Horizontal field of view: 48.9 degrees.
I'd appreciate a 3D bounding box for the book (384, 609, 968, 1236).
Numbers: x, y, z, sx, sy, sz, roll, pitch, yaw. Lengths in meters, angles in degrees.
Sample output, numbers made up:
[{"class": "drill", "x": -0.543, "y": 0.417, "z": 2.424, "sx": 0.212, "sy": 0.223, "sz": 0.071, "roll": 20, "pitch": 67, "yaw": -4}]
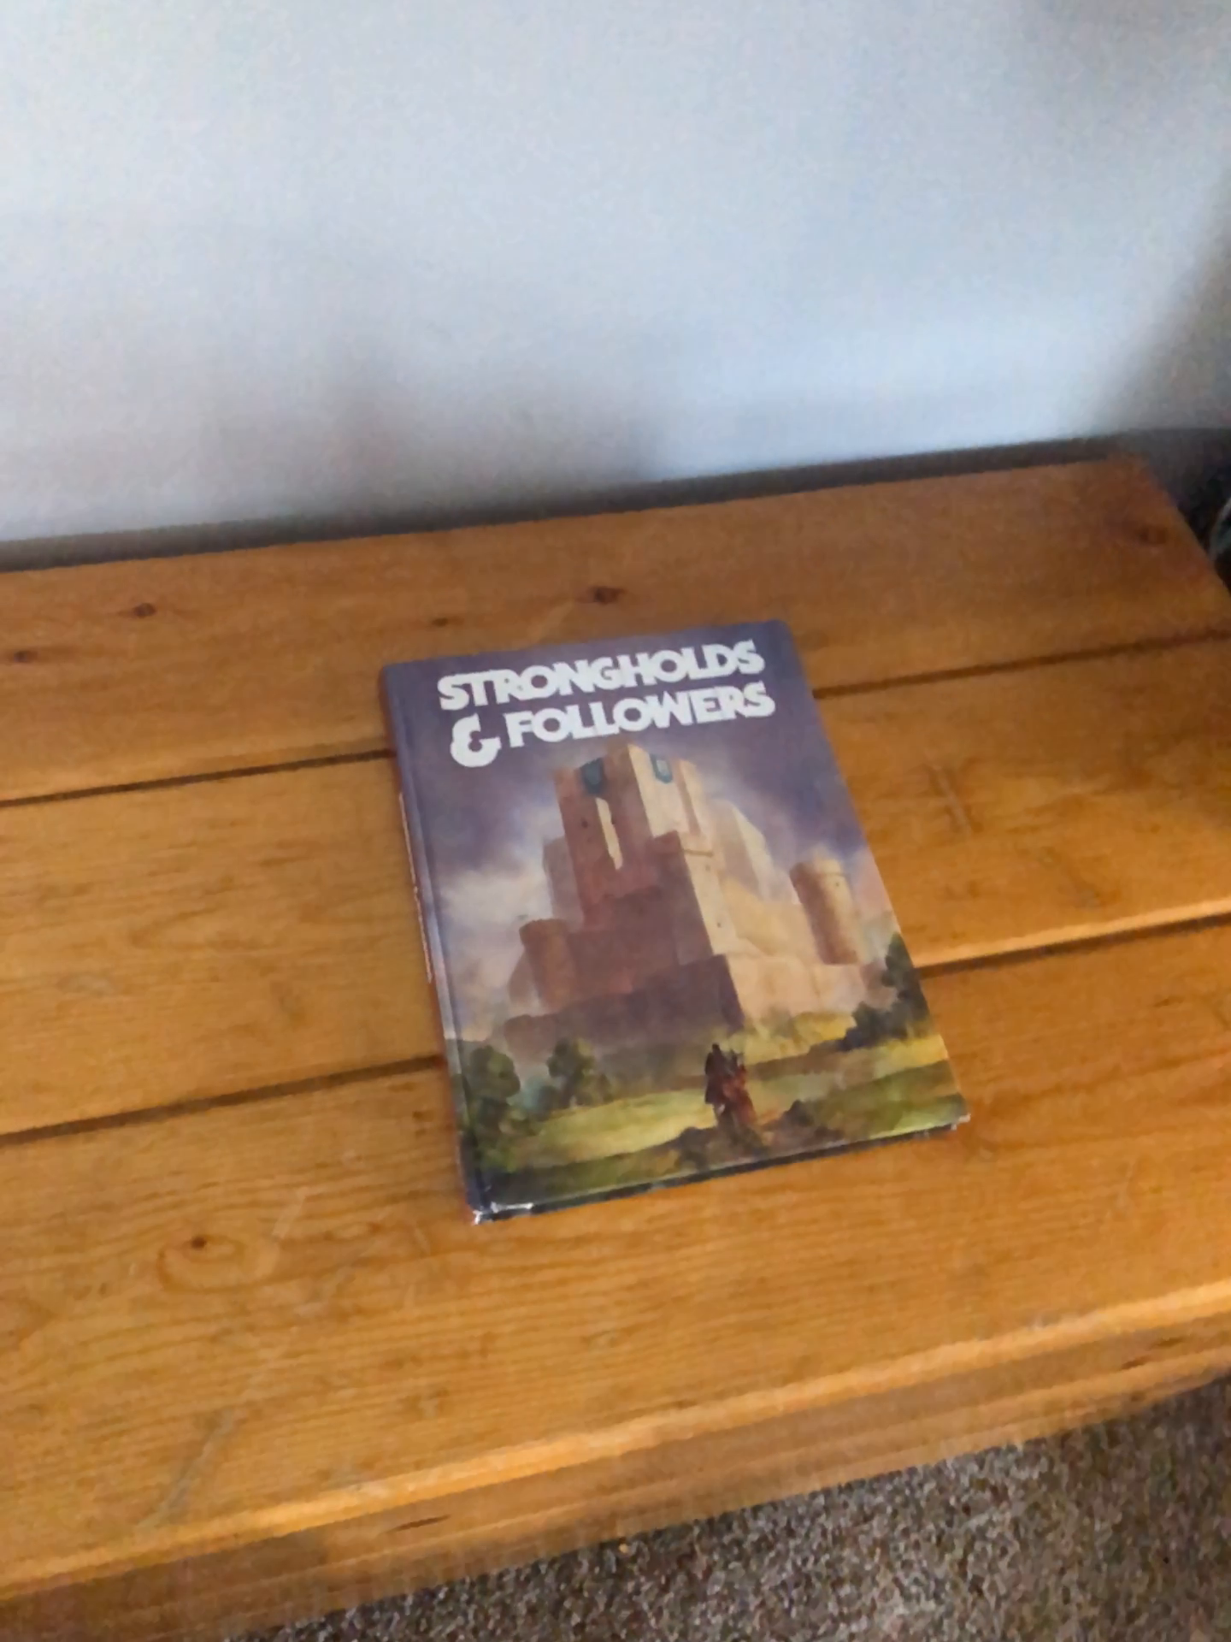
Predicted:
[{"class": "book", "x": 0.015, "y": 0.032, "z": 0.645, "sx": 0.212, "sy": 0.042, "sz": 0.281, "roll": -8, "pitch": 60, "yaw": -10}]
